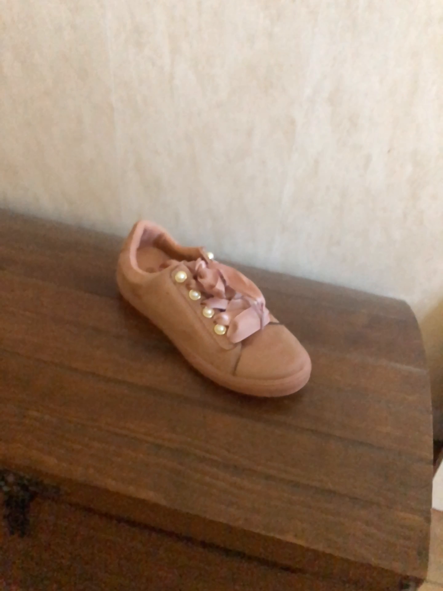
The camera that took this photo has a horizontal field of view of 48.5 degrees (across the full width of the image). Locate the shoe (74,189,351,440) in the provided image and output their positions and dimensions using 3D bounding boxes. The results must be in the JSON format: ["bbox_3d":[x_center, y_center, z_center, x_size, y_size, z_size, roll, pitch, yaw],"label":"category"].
[{"bbox_3d":[-0.021,0.005,0.525,0.280,0.089,0.111,36,52,26],"label":"shoe"}]
